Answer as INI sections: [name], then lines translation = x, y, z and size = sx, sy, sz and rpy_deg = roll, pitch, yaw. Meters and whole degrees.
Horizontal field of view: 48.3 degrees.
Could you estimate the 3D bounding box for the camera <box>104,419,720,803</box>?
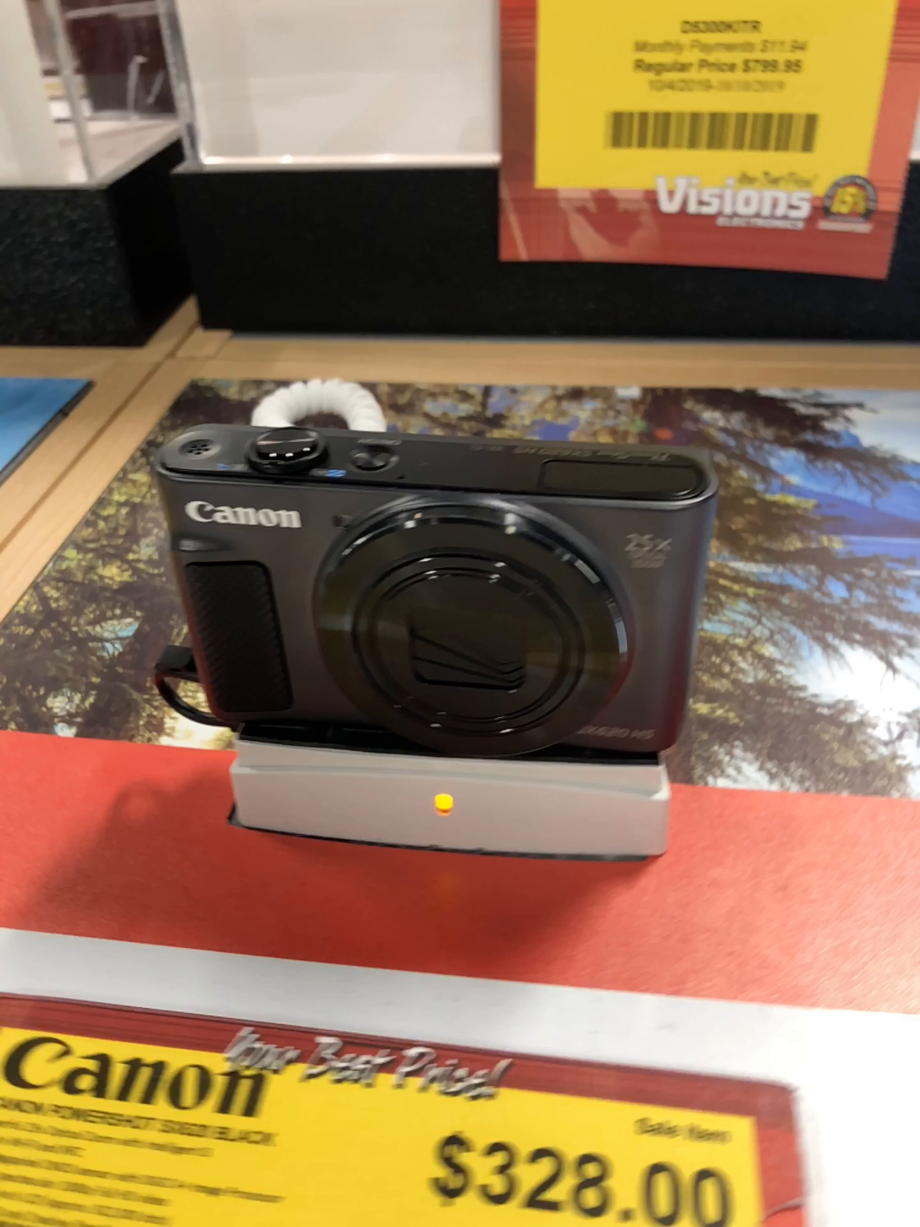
[camera]
translation = -0.006, -0.001, 0.192
size = 0.100, 0.060, 0.030
rpy_deg = 4, 38, 10
